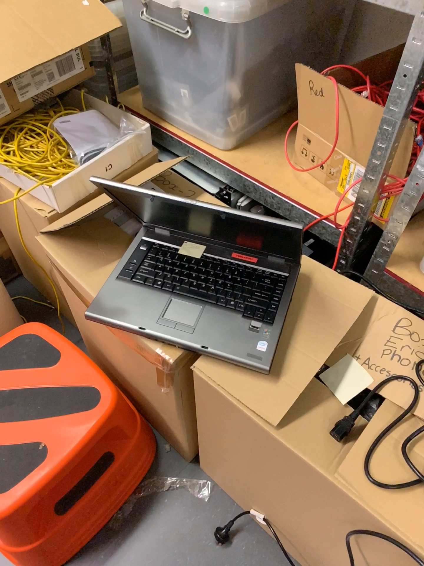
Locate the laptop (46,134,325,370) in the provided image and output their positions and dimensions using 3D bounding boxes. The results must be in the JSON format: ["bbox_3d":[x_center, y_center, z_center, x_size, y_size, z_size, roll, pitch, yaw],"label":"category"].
[{"bbox_3d":[-0.029,-0.064,0.761,0.360,0.238,0.263,15,50,13],"label":"laptop"}]
